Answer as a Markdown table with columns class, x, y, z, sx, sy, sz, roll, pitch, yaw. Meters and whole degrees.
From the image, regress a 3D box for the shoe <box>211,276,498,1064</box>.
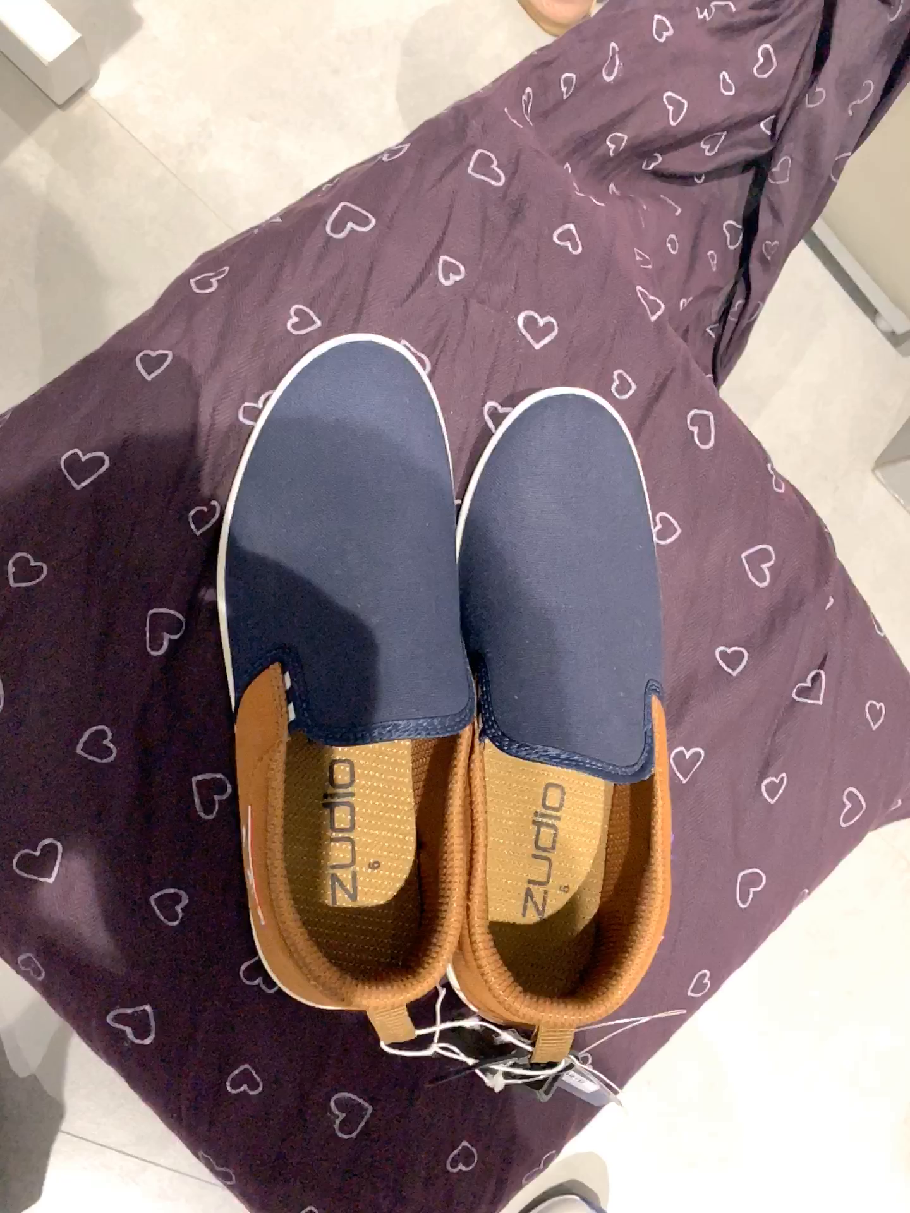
| class | x | y | z | sx | sy | sz | roll | pitch | yaw |
| --- | --- | --- | --- | --- | --- | --- | --- | --- | --- |
| shoe | -0.042 | 0.021 | 0.362 | 0.100 | 0.060 | 0.270 | 0 | 88 | -14 |

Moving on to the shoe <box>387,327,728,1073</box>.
| class | x | y | z | sx | sy | sz | roll | pitch | yaw |
| --- | --- | --- | --- | --- | --- | --- | --- | --- | --- |
| shoe | 0.040 | 0.037 | 0.379 | 0.100 | 0.060 | 0.270 | 6 | 87 | -14 |
